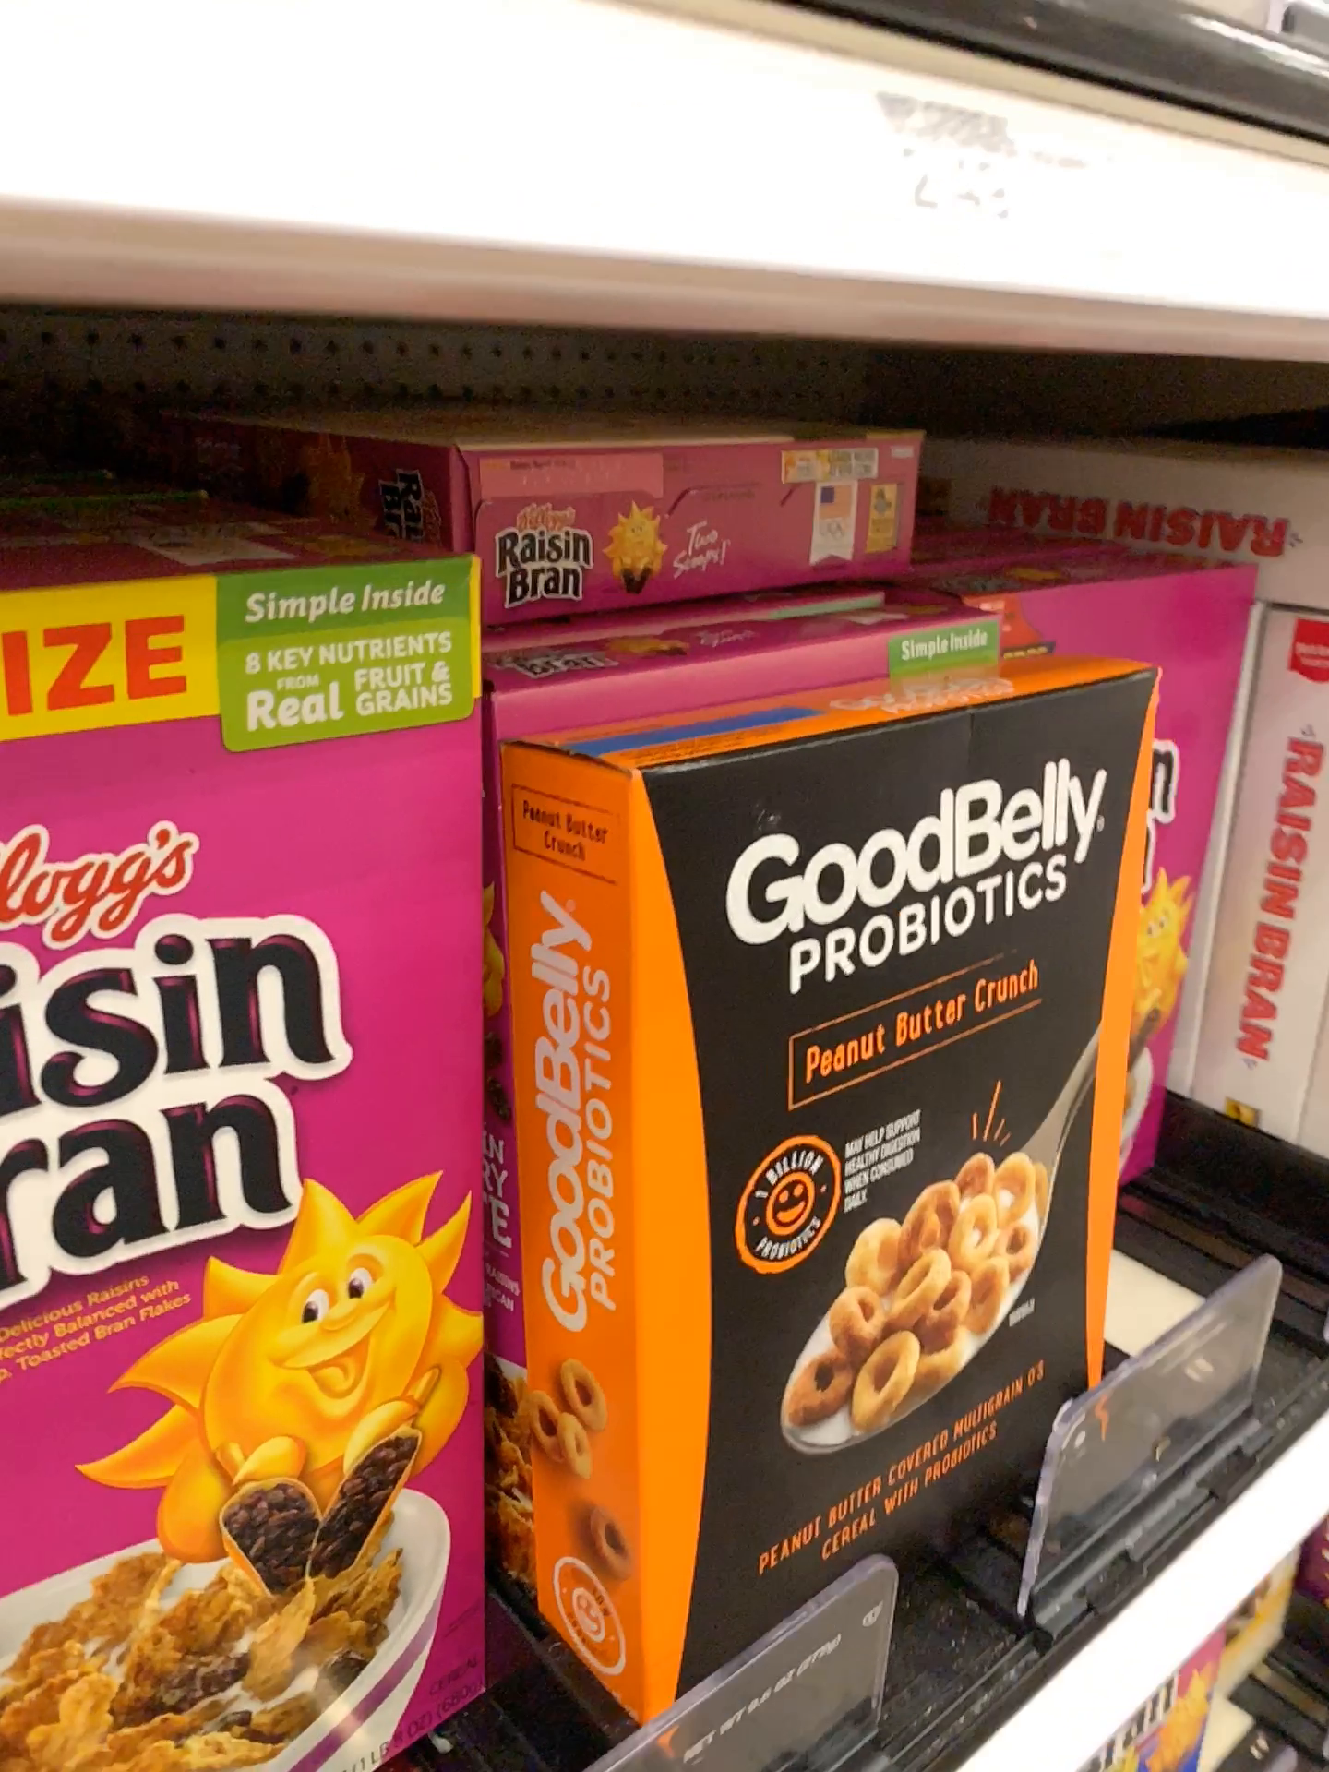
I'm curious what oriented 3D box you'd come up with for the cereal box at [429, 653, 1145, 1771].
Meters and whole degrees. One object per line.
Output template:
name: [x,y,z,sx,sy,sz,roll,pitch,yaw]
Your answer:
cereal box: [0.046,0.075,0.369,0.200,0.249,0.050,-16,21,-39]
